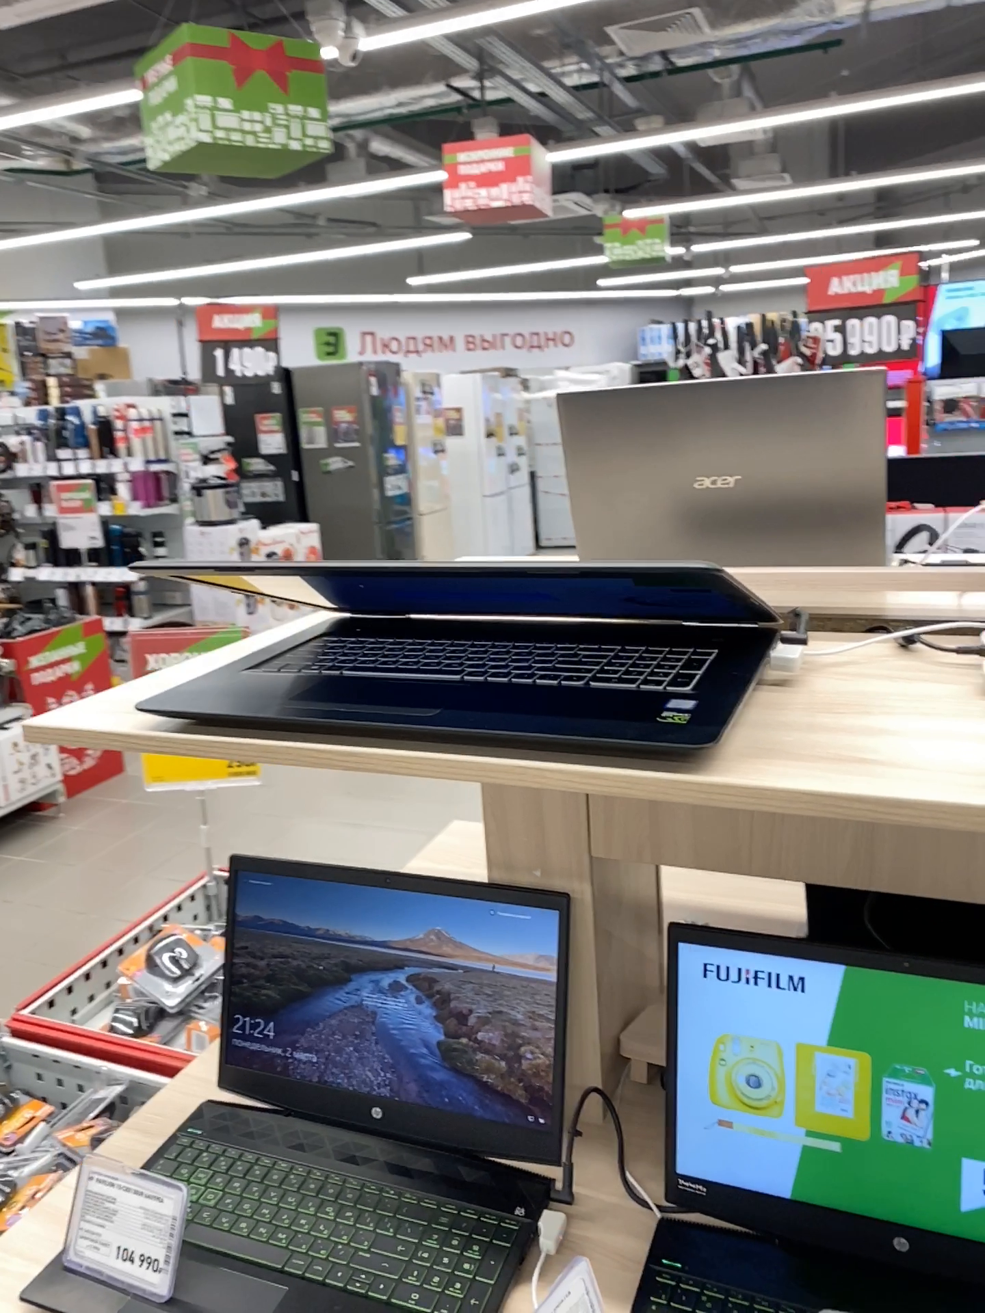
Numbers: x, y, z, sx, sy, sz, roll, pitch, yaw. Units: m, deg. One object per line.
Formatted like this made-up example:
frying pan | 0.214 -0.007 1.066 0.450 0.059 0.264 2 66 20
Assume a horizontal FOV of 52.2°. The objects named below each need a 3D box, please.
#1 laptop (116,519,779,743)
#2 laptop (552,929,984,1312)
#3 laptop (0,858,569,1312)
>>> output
laptop | -0.017 -0.034 0.735 0.404 0.084 0.271 2 15 23
laptop | 0.261 0.366 0.632 0.354 0.226 0.299 1 13 23
laptop | -0.150 0.352 0.822 0.344 0.220 0.315 3 13 21
